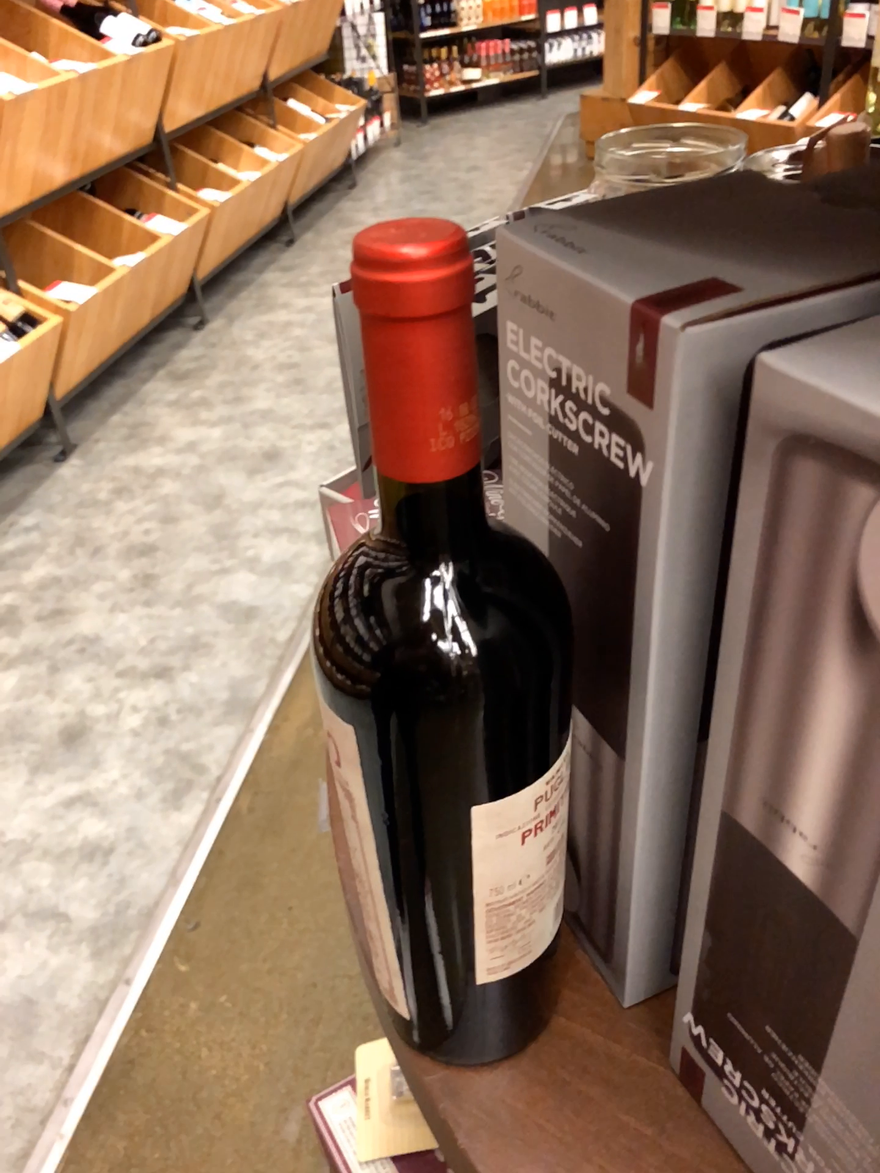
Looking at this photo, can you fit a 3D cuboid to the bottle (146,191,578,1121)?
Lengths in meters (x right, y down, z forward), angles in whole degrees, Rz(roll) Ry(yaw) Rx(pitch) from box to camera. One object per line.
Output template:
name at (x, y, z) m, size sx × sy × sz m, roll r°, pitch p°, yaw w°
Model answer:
bottle at (-0.004, 0.042, 0.308) m, size 0.072 × 0.299 × 0.072 m, roll -4°, pitch 34°, yaw 3°
